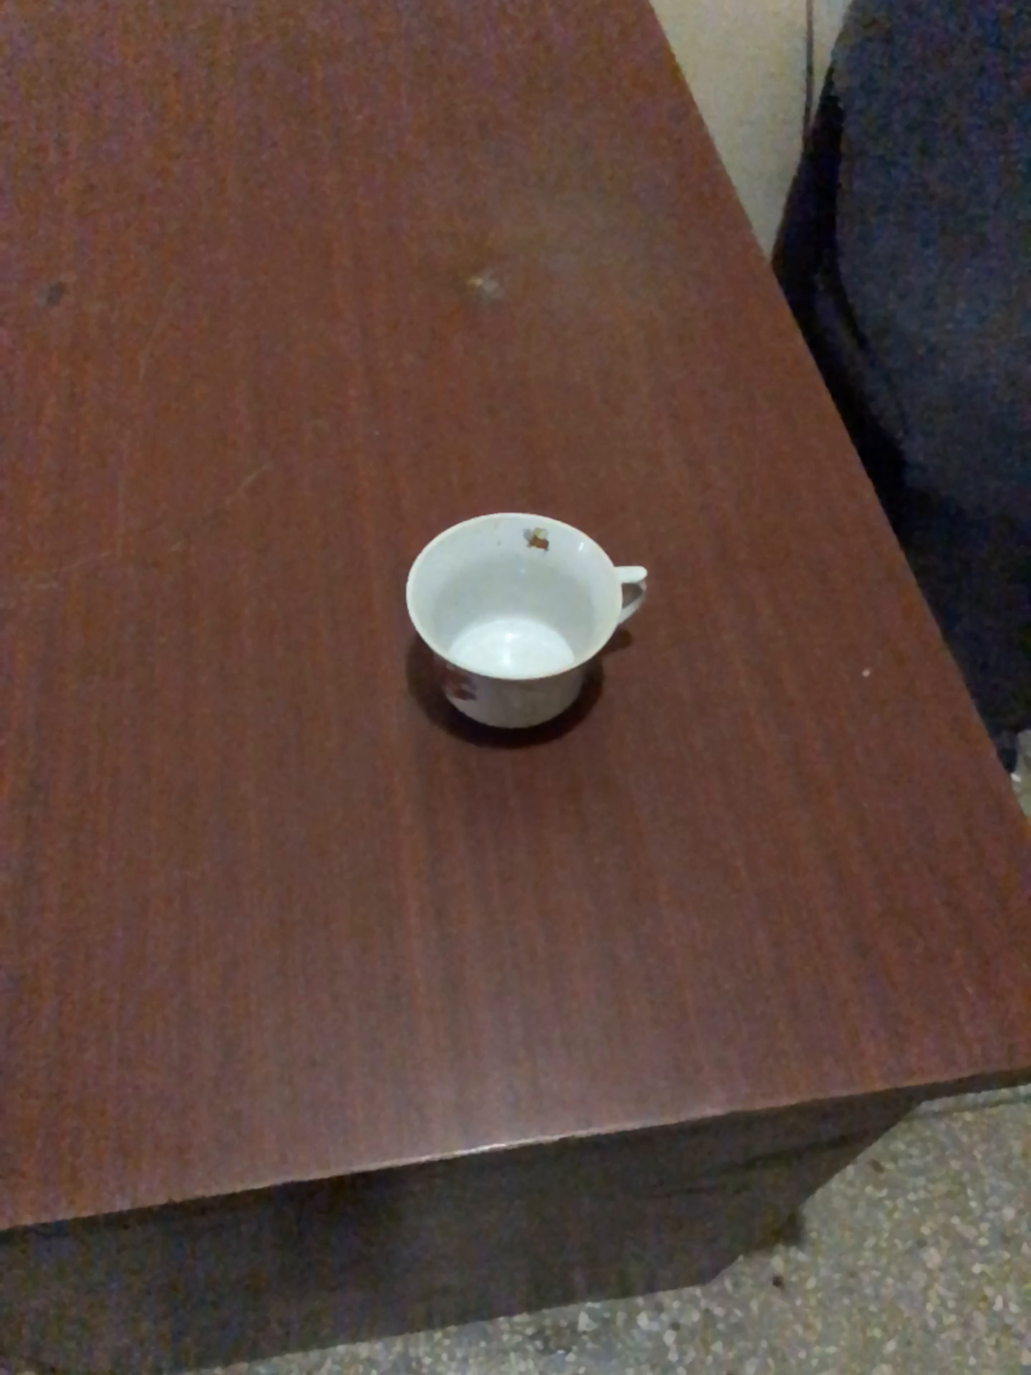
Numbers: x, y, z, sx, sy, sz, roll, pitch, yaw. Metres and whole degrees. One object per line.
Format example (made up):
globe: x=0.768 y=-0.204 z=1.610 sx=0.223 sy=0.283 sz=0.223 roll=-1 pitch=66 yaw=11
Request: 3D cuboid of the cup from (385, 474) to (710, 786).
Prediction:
cup: x=0.010 y=-0.027 z=0.499 sx=0.110 sy=0.059 sz=0.100 roll=-14 pitch=57 yaw=-11
